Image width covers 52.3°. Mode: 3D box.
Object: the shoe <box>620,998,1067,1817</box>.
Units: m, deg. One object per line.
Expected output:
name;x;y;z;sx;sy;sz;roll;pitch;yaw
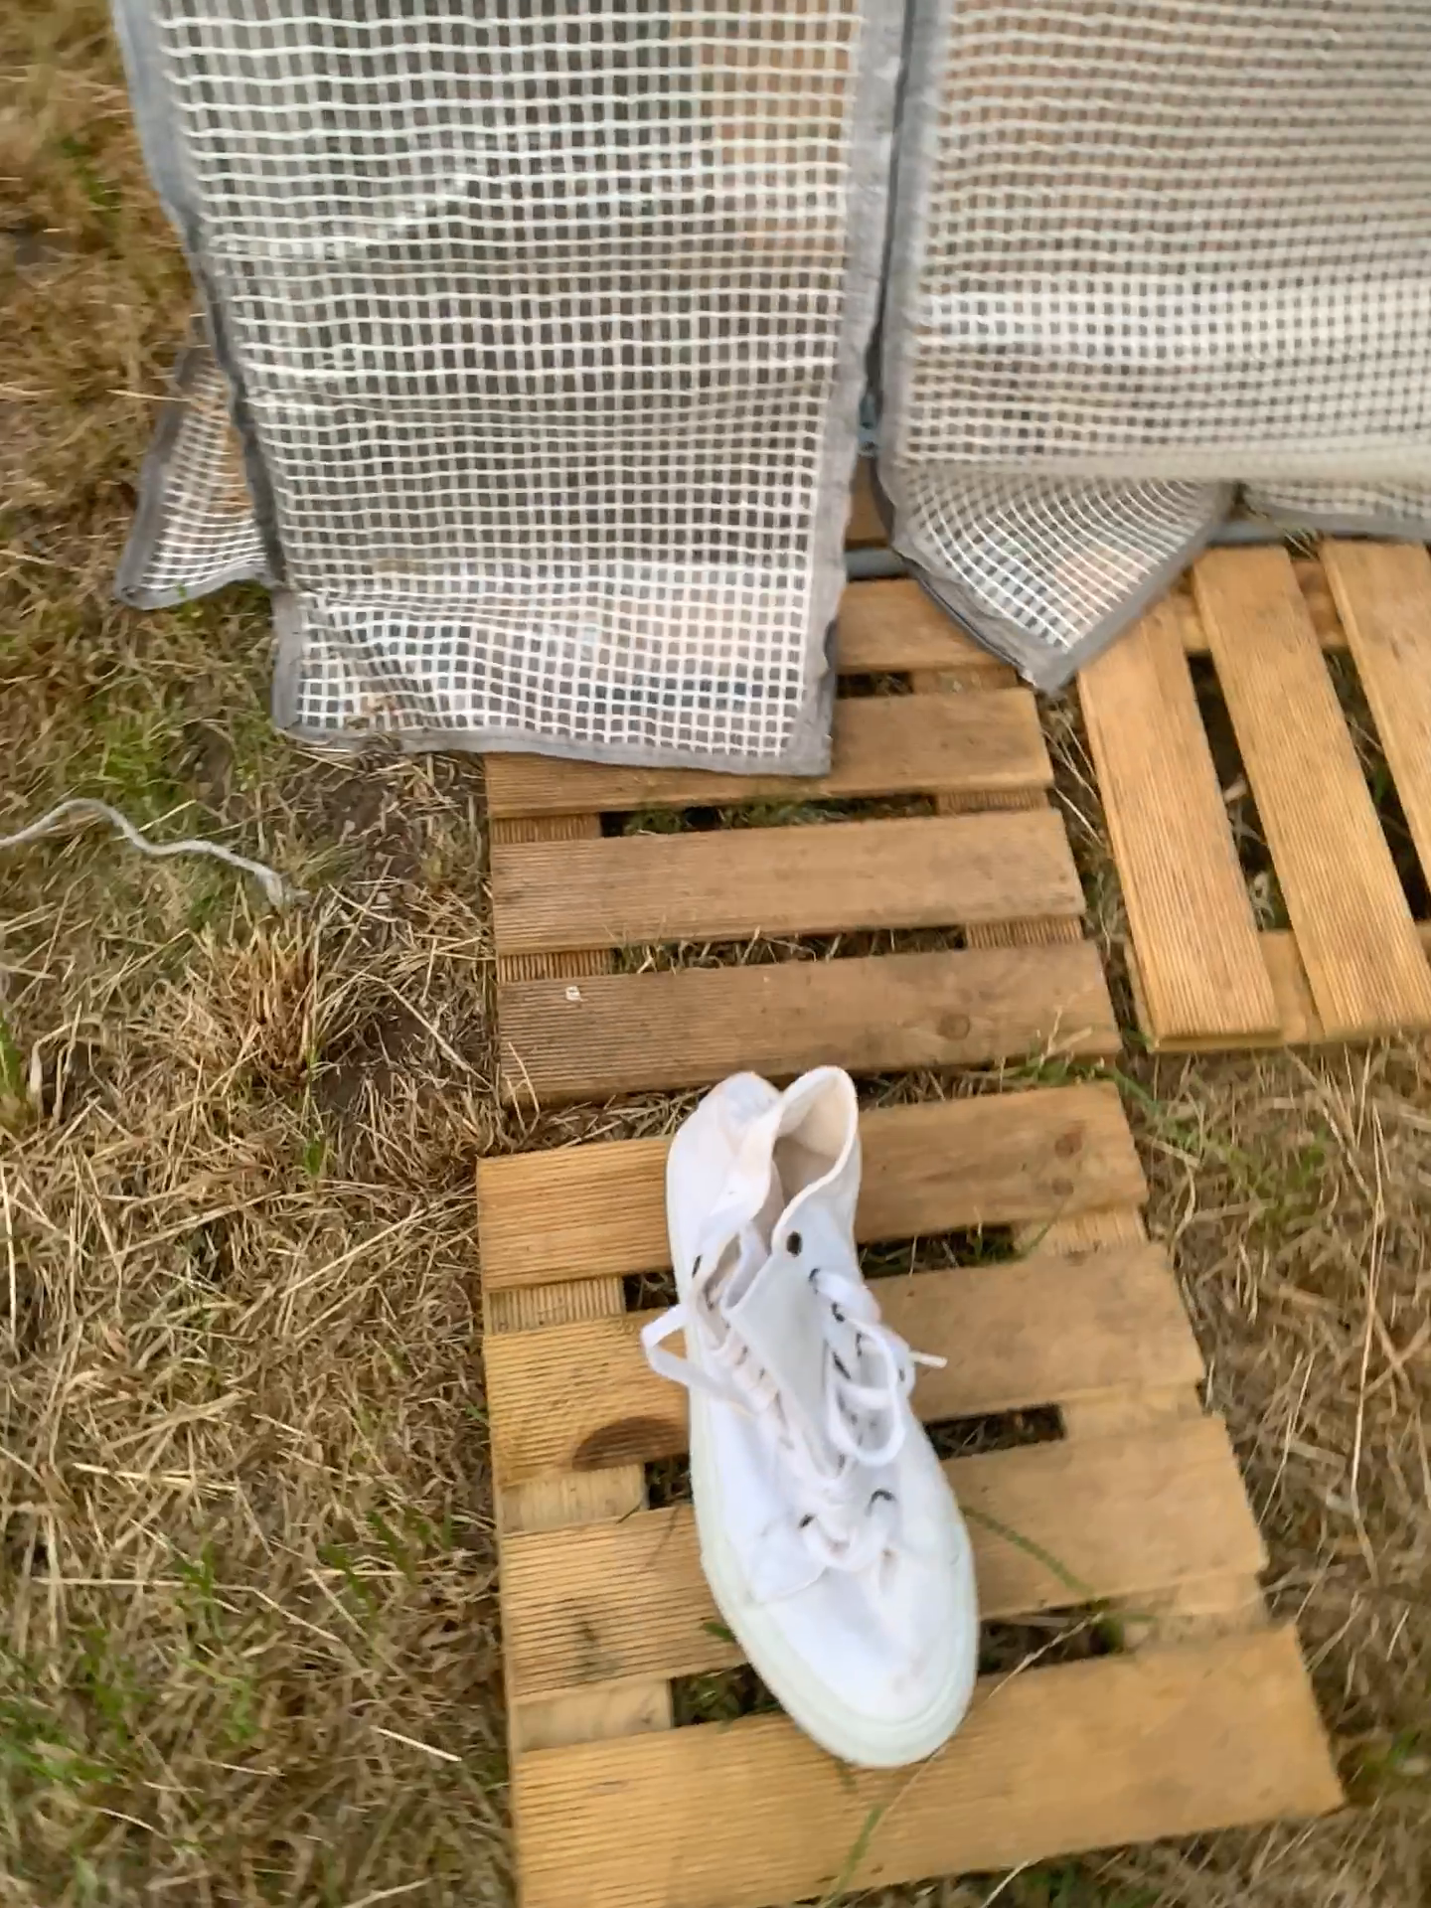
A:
shoe;0.033;0.161;0.551;0.100;0.109;0.262;-8;54;-6
